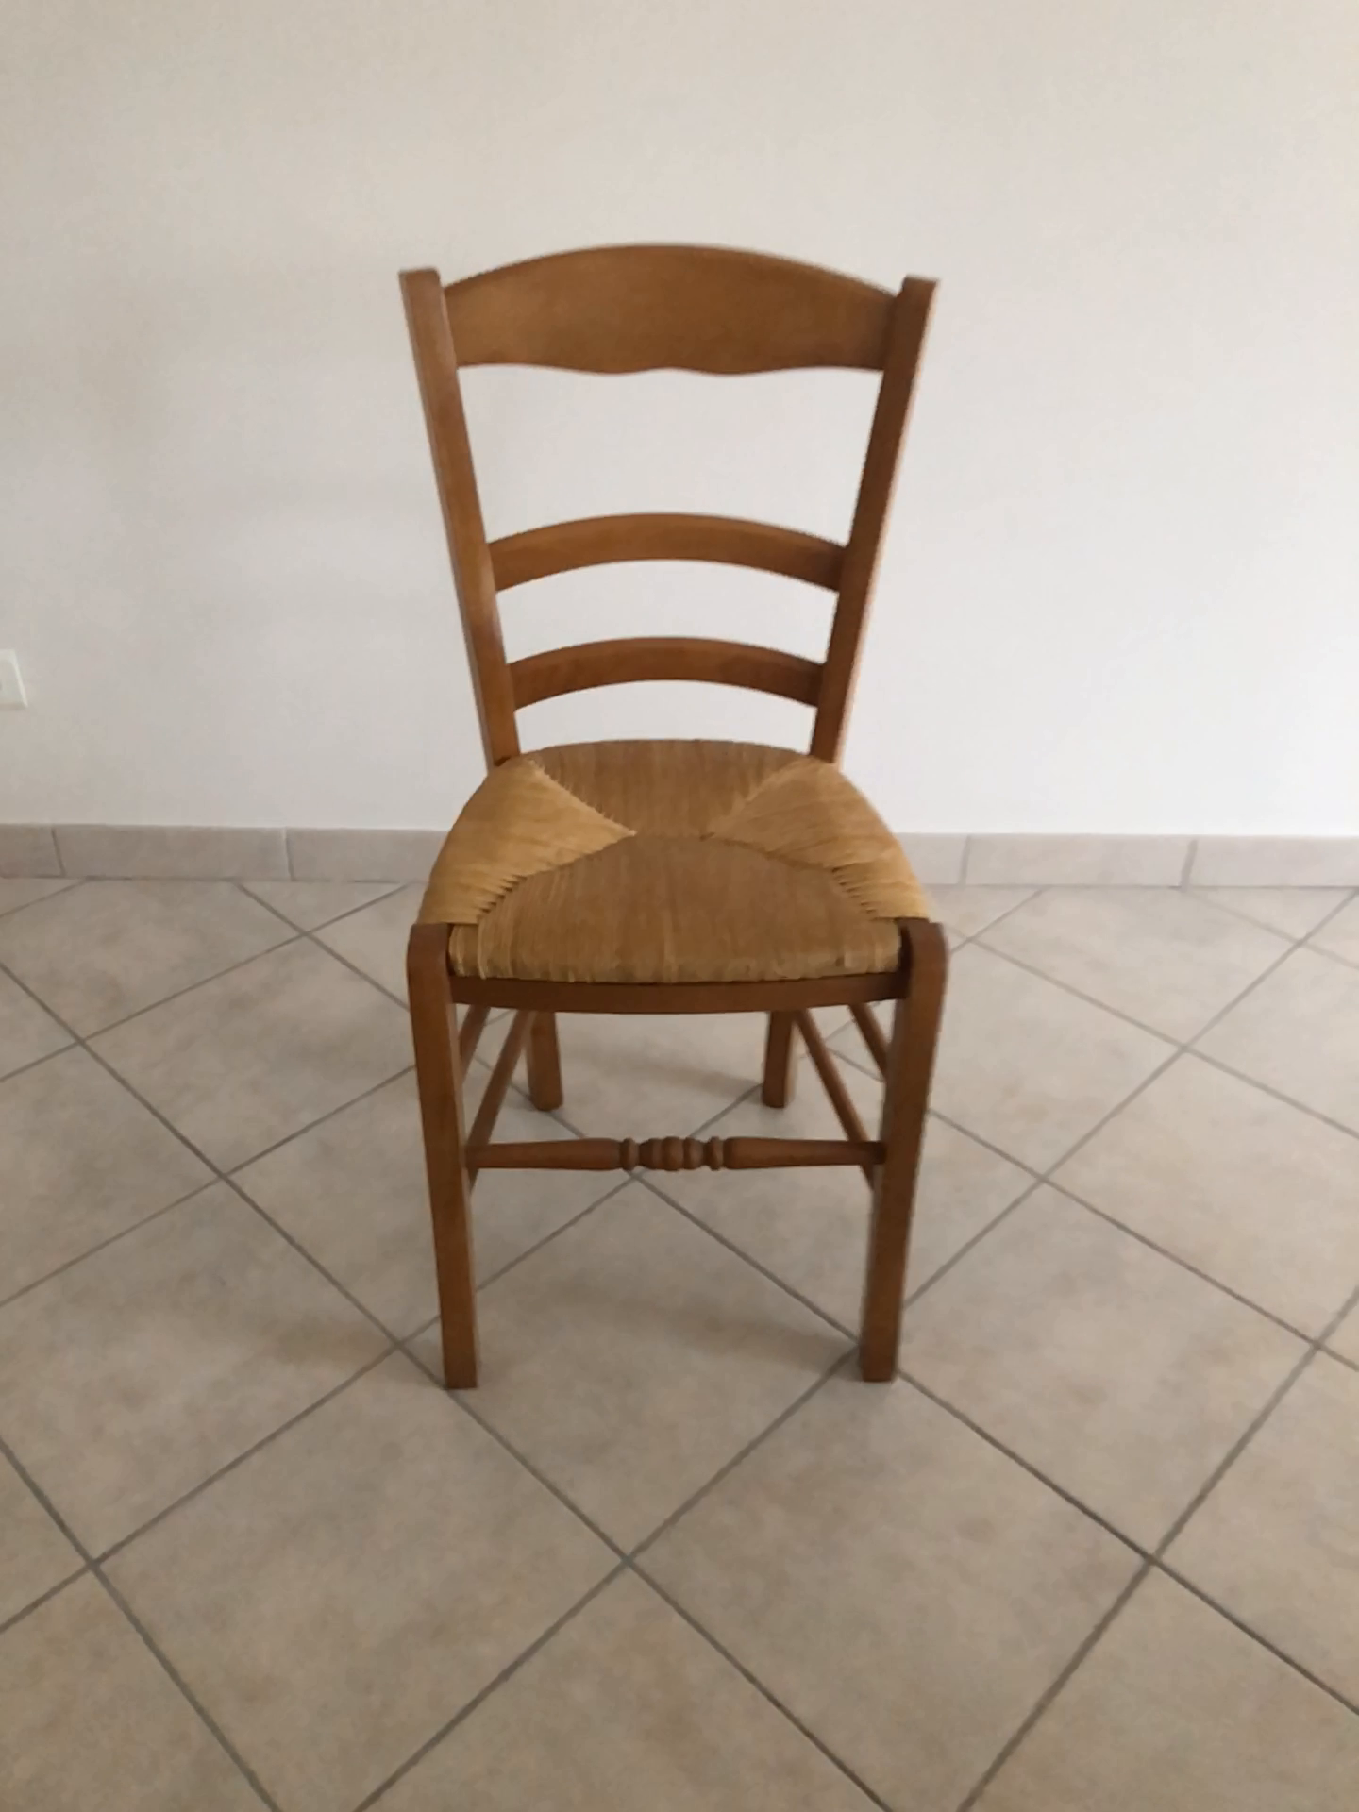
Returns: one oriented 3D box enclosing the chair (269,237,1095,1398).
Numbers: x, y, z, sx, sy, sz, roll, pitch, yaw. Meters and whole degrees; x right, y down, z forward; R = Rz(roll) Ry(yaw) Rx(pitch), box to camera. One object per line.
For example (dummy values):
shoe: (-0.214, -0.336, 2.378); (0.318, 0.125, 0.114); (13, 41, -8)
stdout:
chair: (-0.011, -0.066, 1.241); (0.450, 0.825, 0.503); (0, 34, -2)
